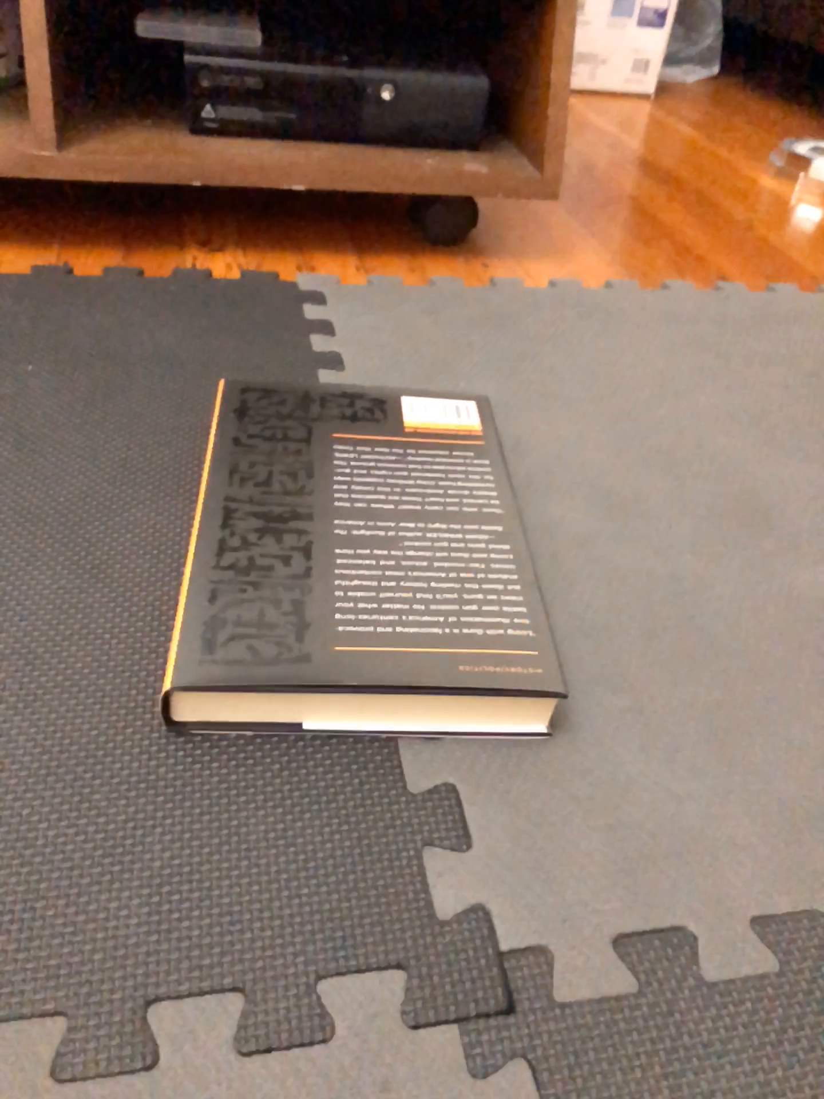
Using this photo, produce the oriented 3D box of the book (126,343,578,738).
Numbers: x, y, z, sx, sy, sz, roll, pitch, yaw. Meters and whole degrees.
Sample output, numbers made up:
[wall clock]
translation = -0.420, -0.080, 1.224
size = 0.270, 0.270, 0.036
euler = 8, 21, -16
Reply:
[book]
translation = -0.030, -0.022, 0.459
size = 0.170, 0.040, 0.262
euler = 2, 38, -6
